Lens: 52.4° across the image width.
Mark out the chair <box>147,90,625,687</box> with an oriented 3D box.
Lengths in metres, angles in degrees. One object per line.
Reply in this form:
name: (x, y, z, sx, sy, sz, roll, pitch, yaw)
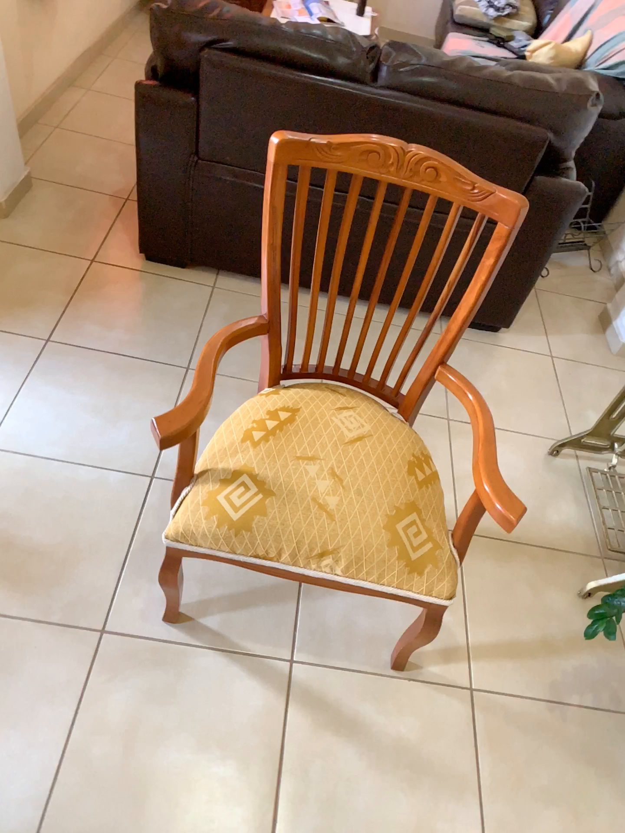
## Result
chair: (0.050, 0.020, 1.357, 0.620, 1.015, 0.633, 13, 47, -4)
